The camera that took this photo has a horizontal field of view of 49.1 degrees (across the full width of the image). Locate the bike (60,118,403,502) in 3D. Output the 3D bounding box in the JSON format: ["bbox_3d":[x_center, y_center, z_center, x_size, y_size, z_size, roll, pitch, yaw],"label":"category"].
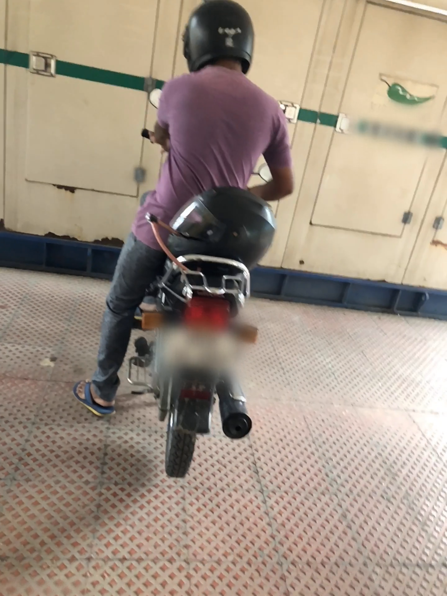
[{"bbox_3d":[0.034,-0.137,2.119,0.814,0.928,1.603,11,25,-3],"label":"bike"}]
